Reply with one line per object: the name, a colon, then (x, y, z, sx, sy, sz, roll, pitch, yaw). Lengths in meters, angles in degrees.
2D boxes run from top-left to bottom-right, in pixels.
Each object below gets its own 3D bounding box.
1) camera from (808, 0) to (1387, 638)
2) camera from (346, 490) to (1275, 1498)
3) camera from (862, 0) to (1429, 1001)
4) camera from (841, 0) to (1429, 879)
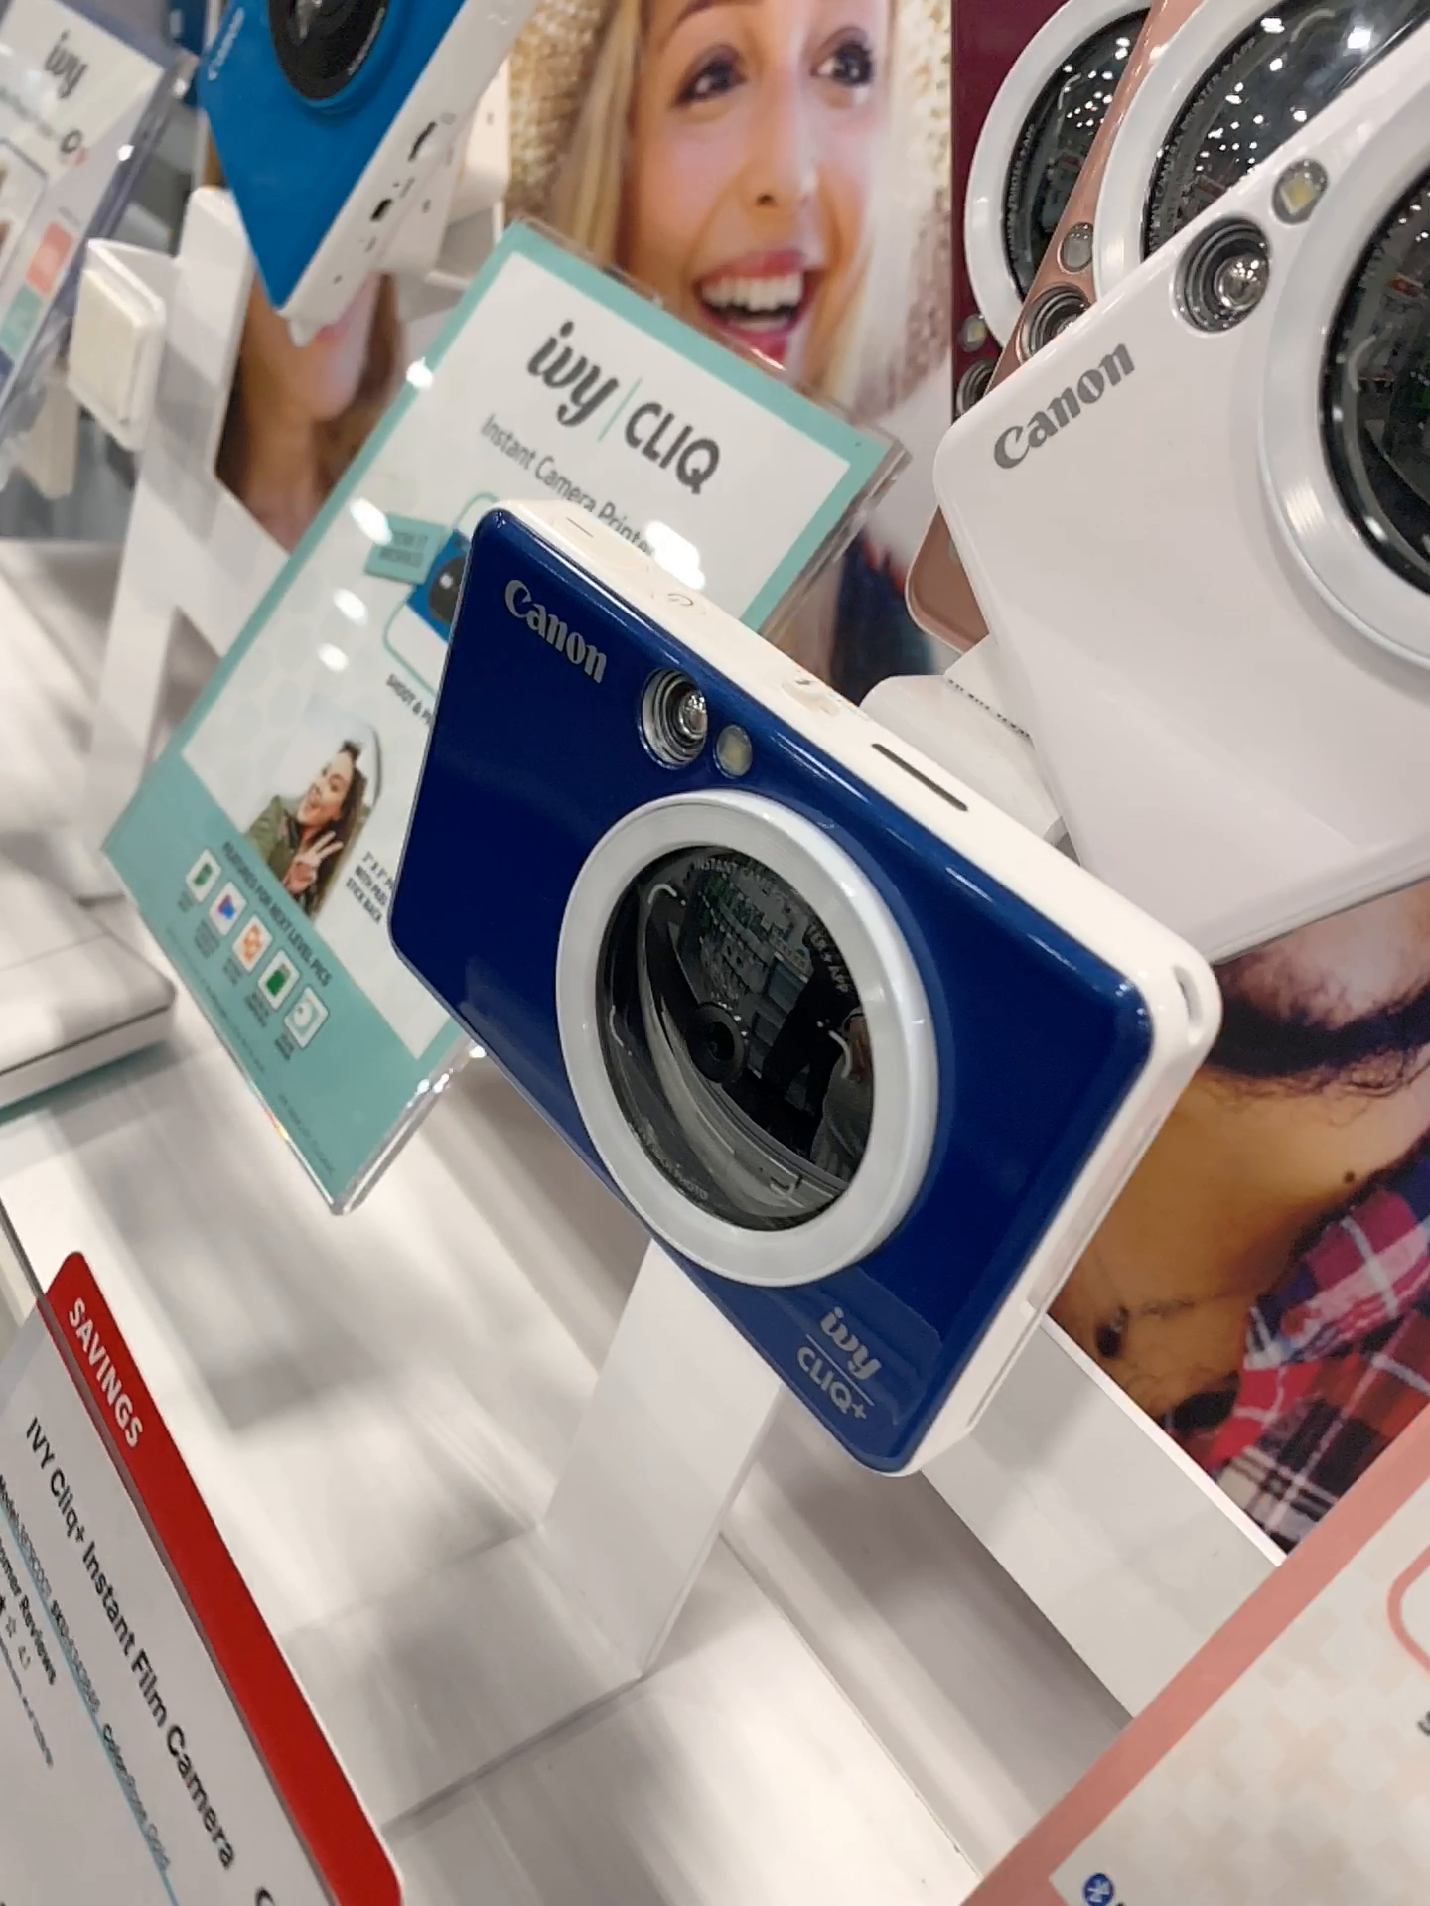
camera: (0.055, -0.106, 0.228, 0.028, 0.110, 0.078, -16, 19, -42)
camera: (0.000, -0.002, 0.195, 0.028, 0.070, 0.120, -15, 46, -42)
camera: (0.078, -0.052, 0.158, 0.028, 0.119, 0.078, -9, 76, -41)
camera: (0.072, -0.083, 0.196, 0.028, 0.119, 0.078, -14, 45, -42)
